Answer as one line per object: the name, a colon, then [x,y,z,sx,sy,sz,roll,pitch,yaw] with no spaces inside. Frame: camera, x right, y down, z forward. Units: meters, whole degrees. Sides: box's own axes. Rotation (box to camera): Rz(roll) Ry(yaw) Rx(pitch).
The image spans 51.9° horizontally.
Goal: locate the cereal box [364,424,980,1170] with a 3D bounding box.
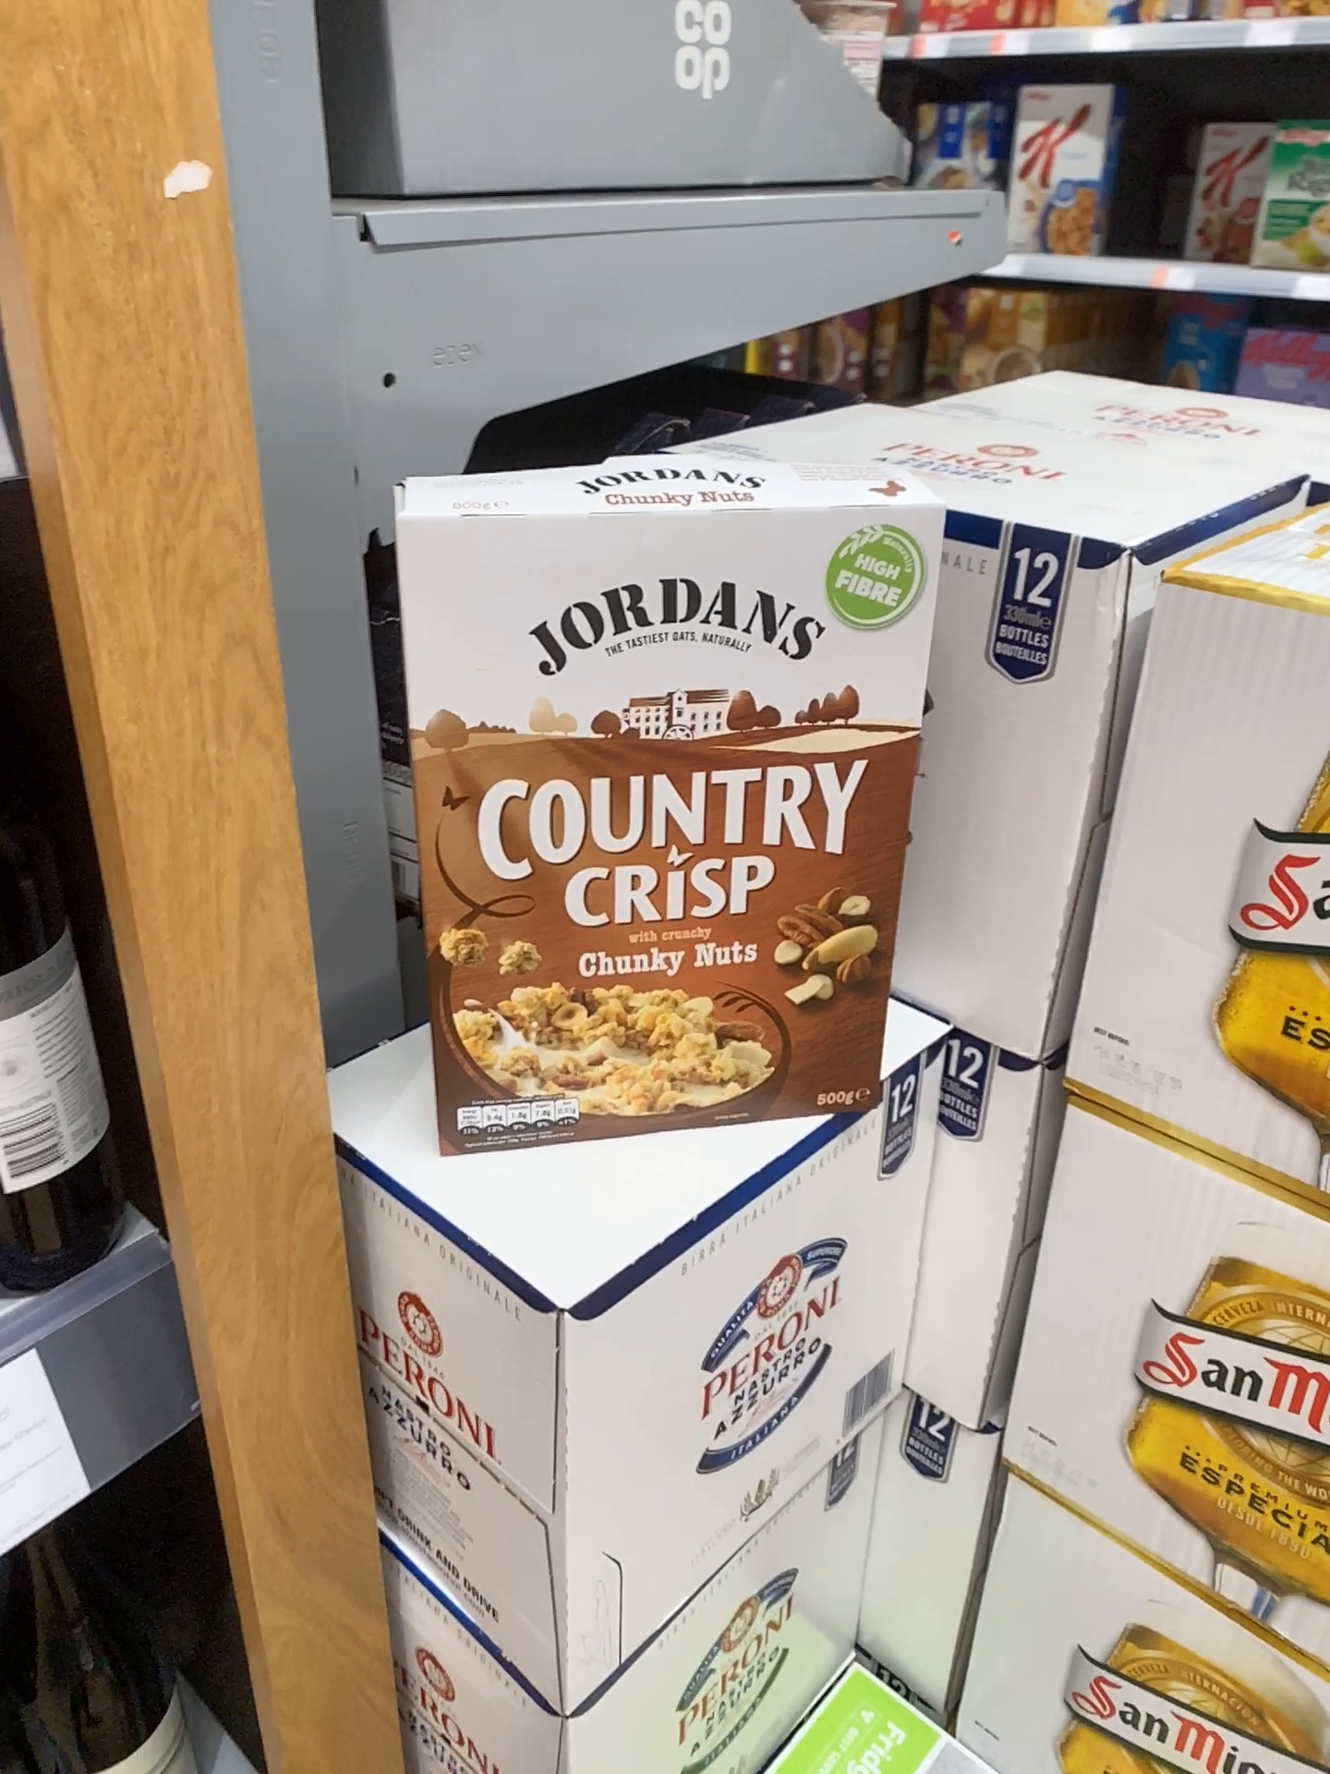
cereal box: [-0.001,-0.027,0.495,0.190,0.258,0.050,-5,28,-10]
